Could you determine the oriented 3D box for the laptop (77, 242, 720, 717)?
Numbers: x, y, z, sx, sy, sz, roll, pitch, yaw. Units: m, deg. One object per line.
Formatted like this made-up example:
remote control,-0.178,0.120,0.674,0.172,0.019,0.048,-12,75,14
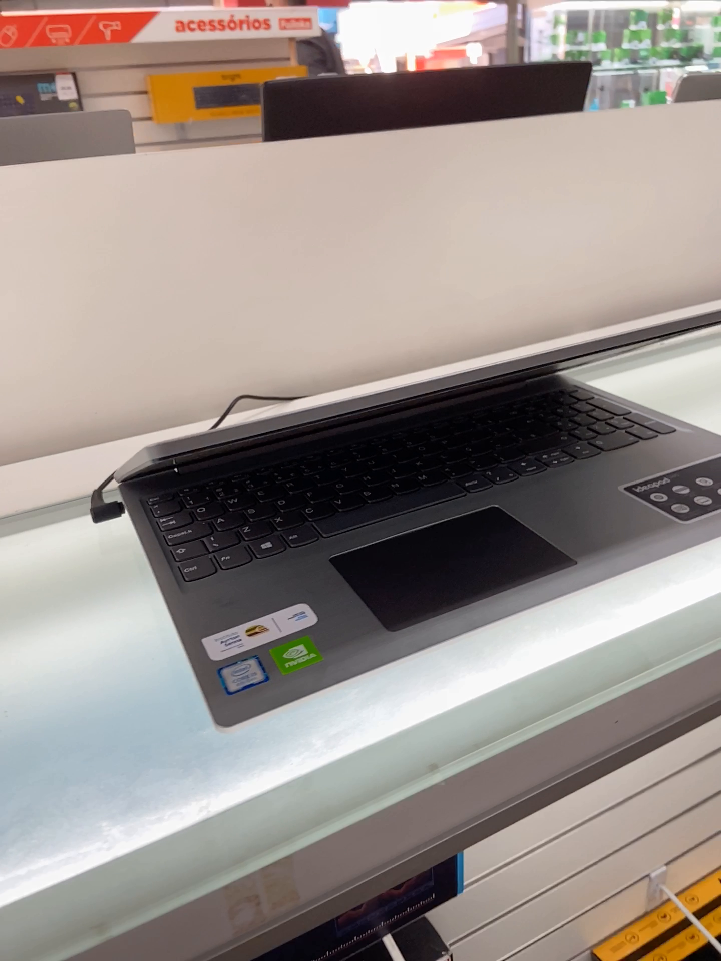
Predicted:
laptop,0.049,-0.045,0.424,0.354,0.104,0.240,-16,28,-21
